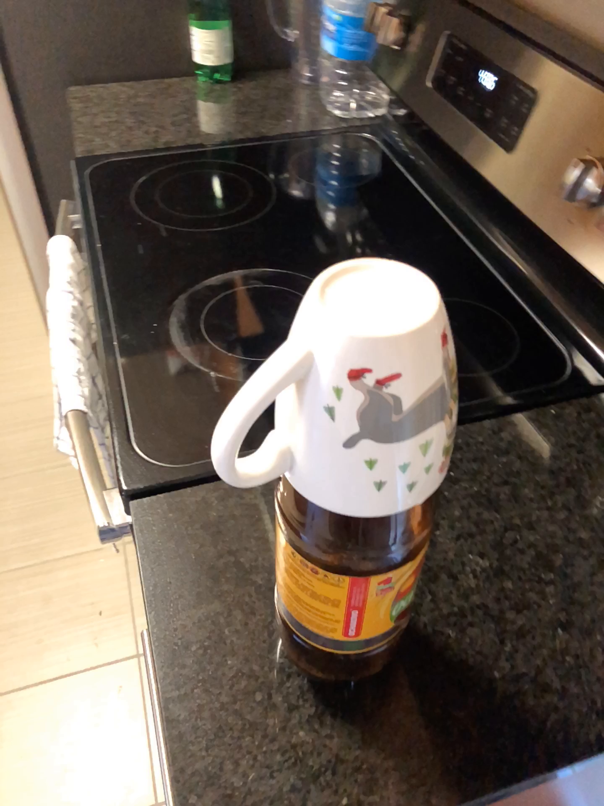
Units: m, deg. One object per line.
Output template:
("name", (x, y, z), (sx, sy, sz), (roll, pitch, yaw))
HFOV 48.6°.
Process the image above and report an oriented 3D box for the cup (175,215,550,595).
("cup", (0.027, -0.005, 0.342), (0.140, 0.109, 0.100), (-29, 53, -28))
